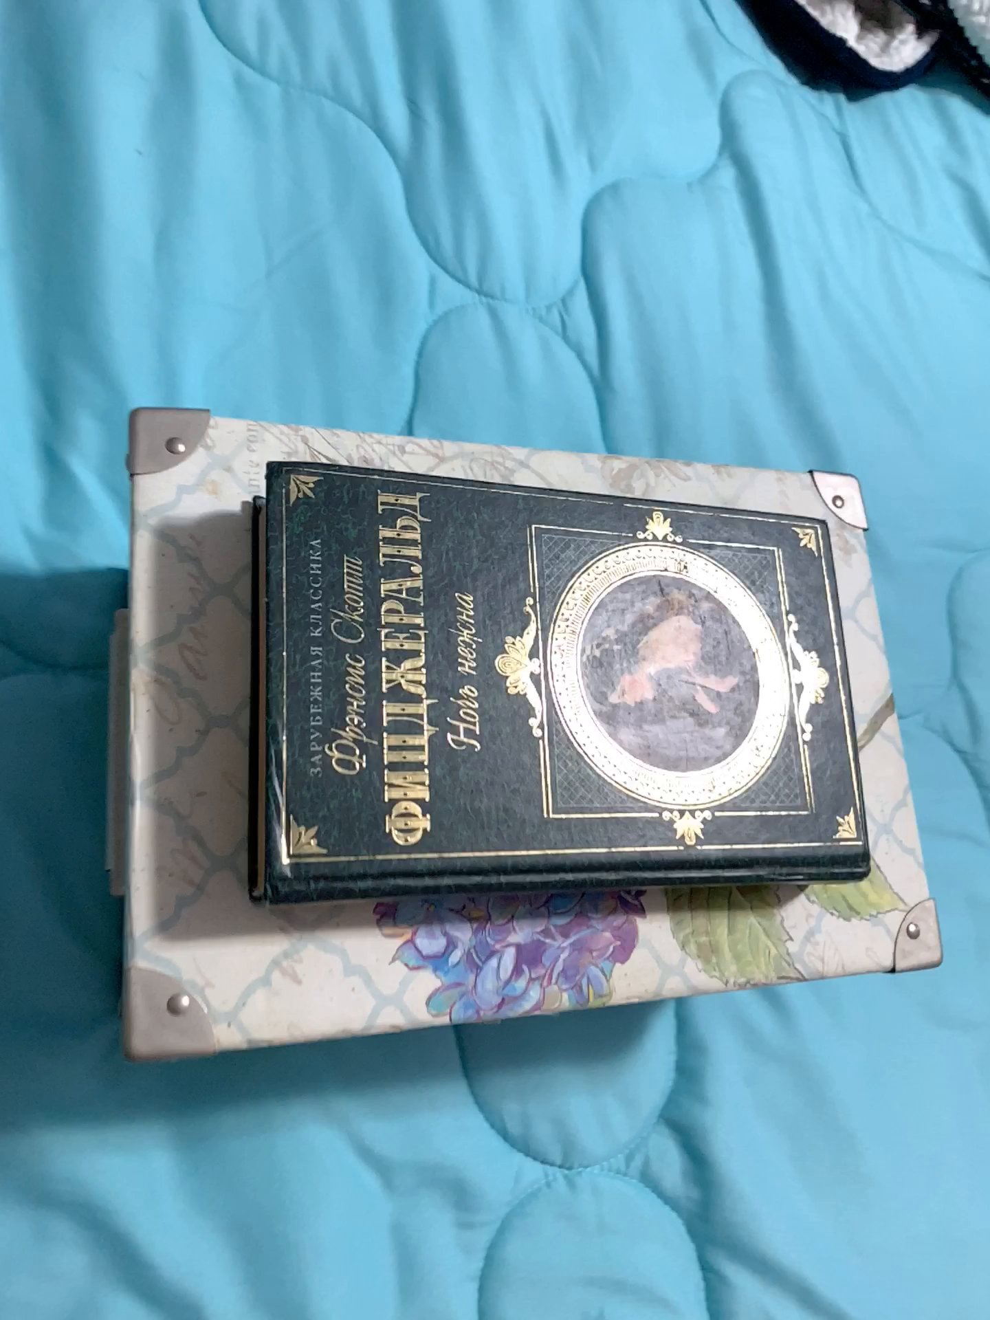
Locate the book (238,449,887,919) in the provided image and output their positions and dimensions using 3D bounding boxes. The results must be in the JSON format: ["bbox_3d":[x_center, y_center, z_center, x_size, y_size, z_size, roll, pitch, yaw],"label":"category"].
[{"bbox_3d":[0.027,0.011,0.350,0.220,0.030,0.140,2,75,-21],"label":"book"}]
